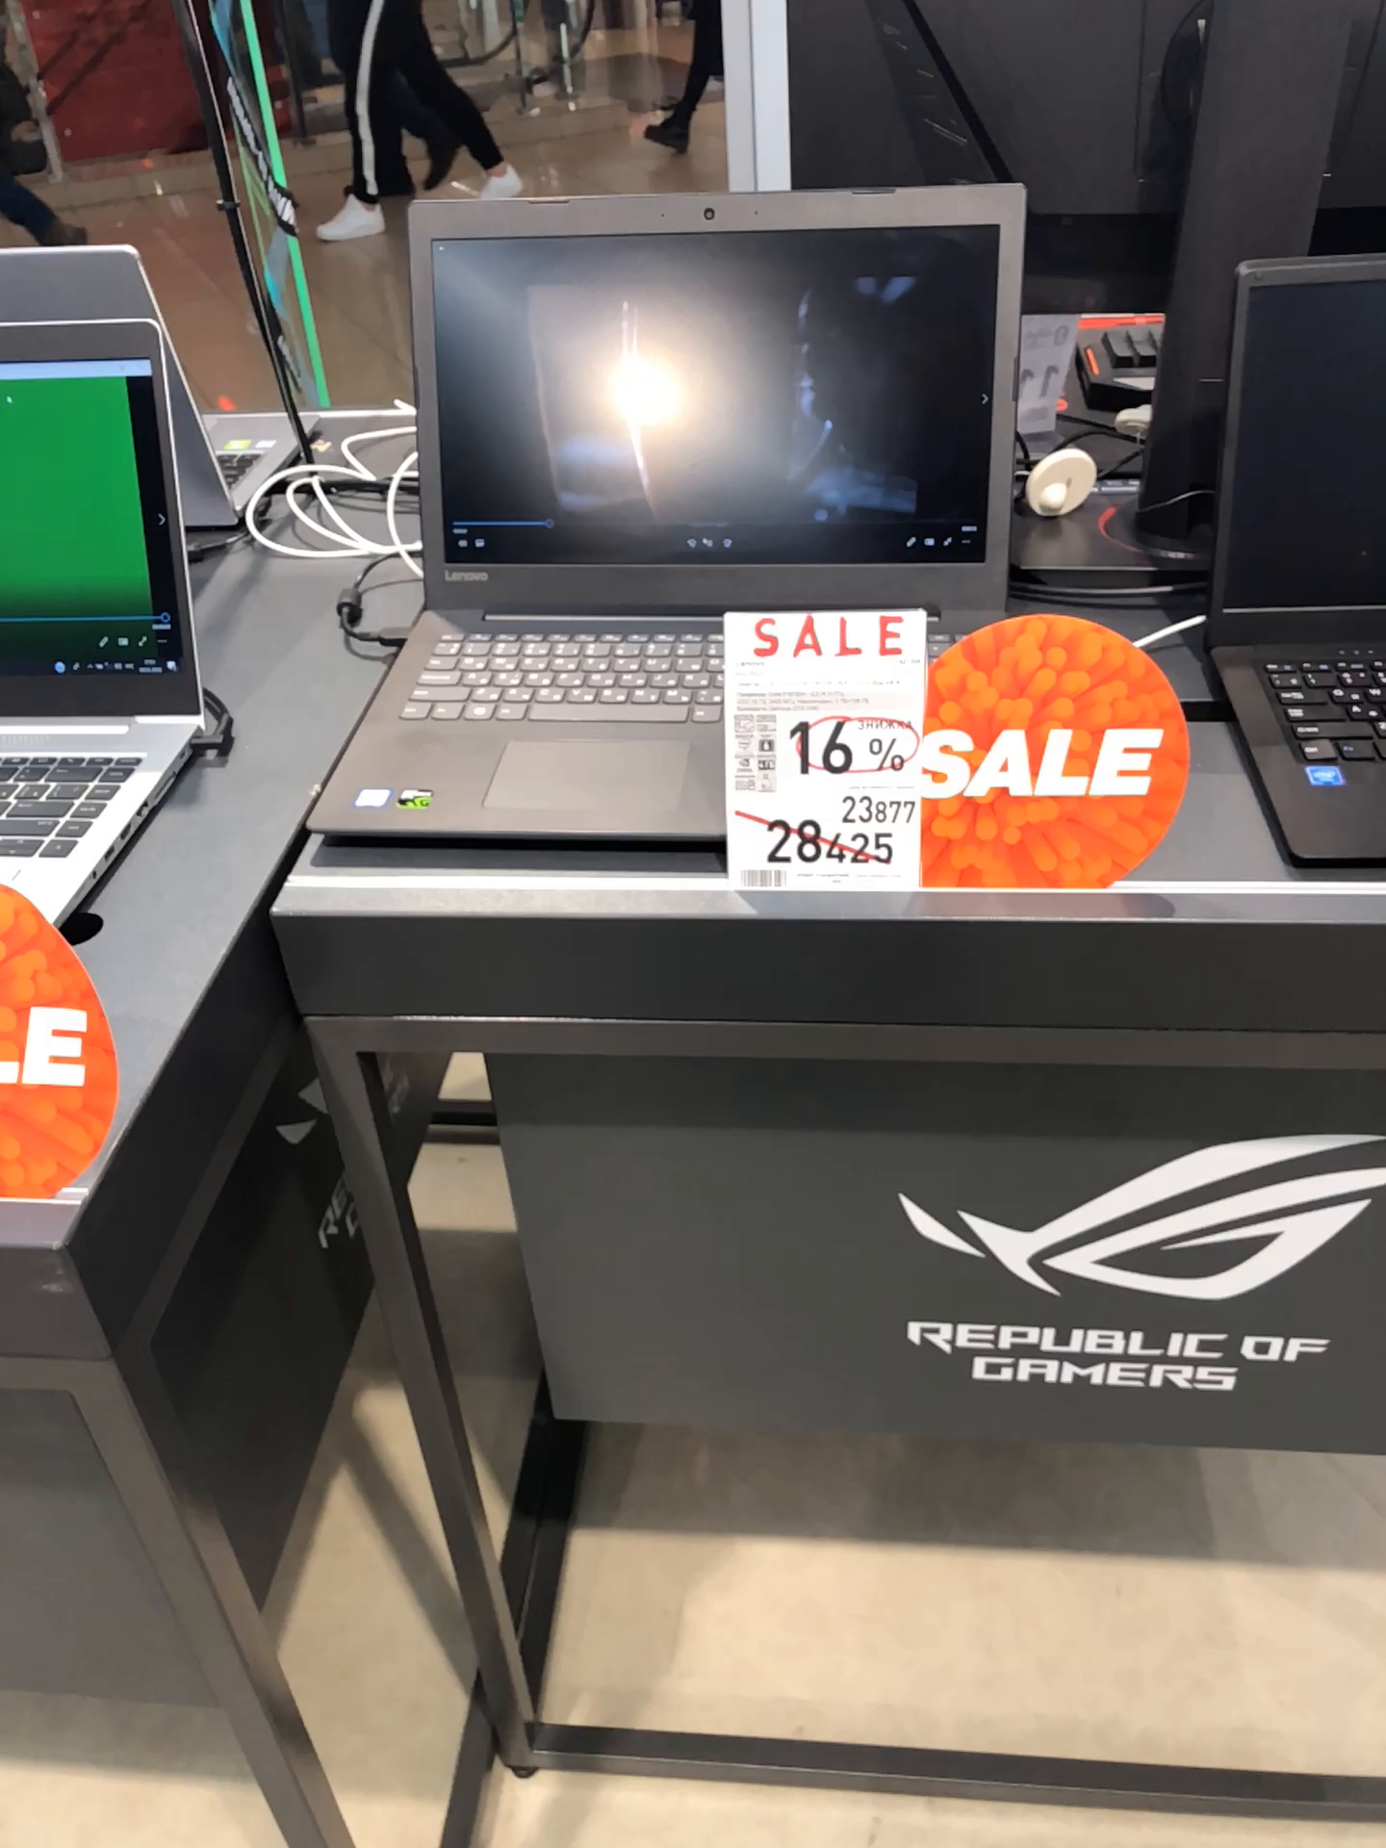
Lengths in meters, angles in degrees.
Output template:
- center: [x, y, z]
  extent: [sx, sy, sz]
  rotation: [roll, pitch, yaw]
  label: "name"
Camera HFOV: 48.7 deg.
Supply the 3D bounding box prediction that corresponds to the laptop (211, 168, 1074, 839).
- center: [-0.001, -0.250, 0.866]
  extent: [0.382, 0.235, 0.336]
  rotation: [2, 38, 8]
  label: "laptop"
